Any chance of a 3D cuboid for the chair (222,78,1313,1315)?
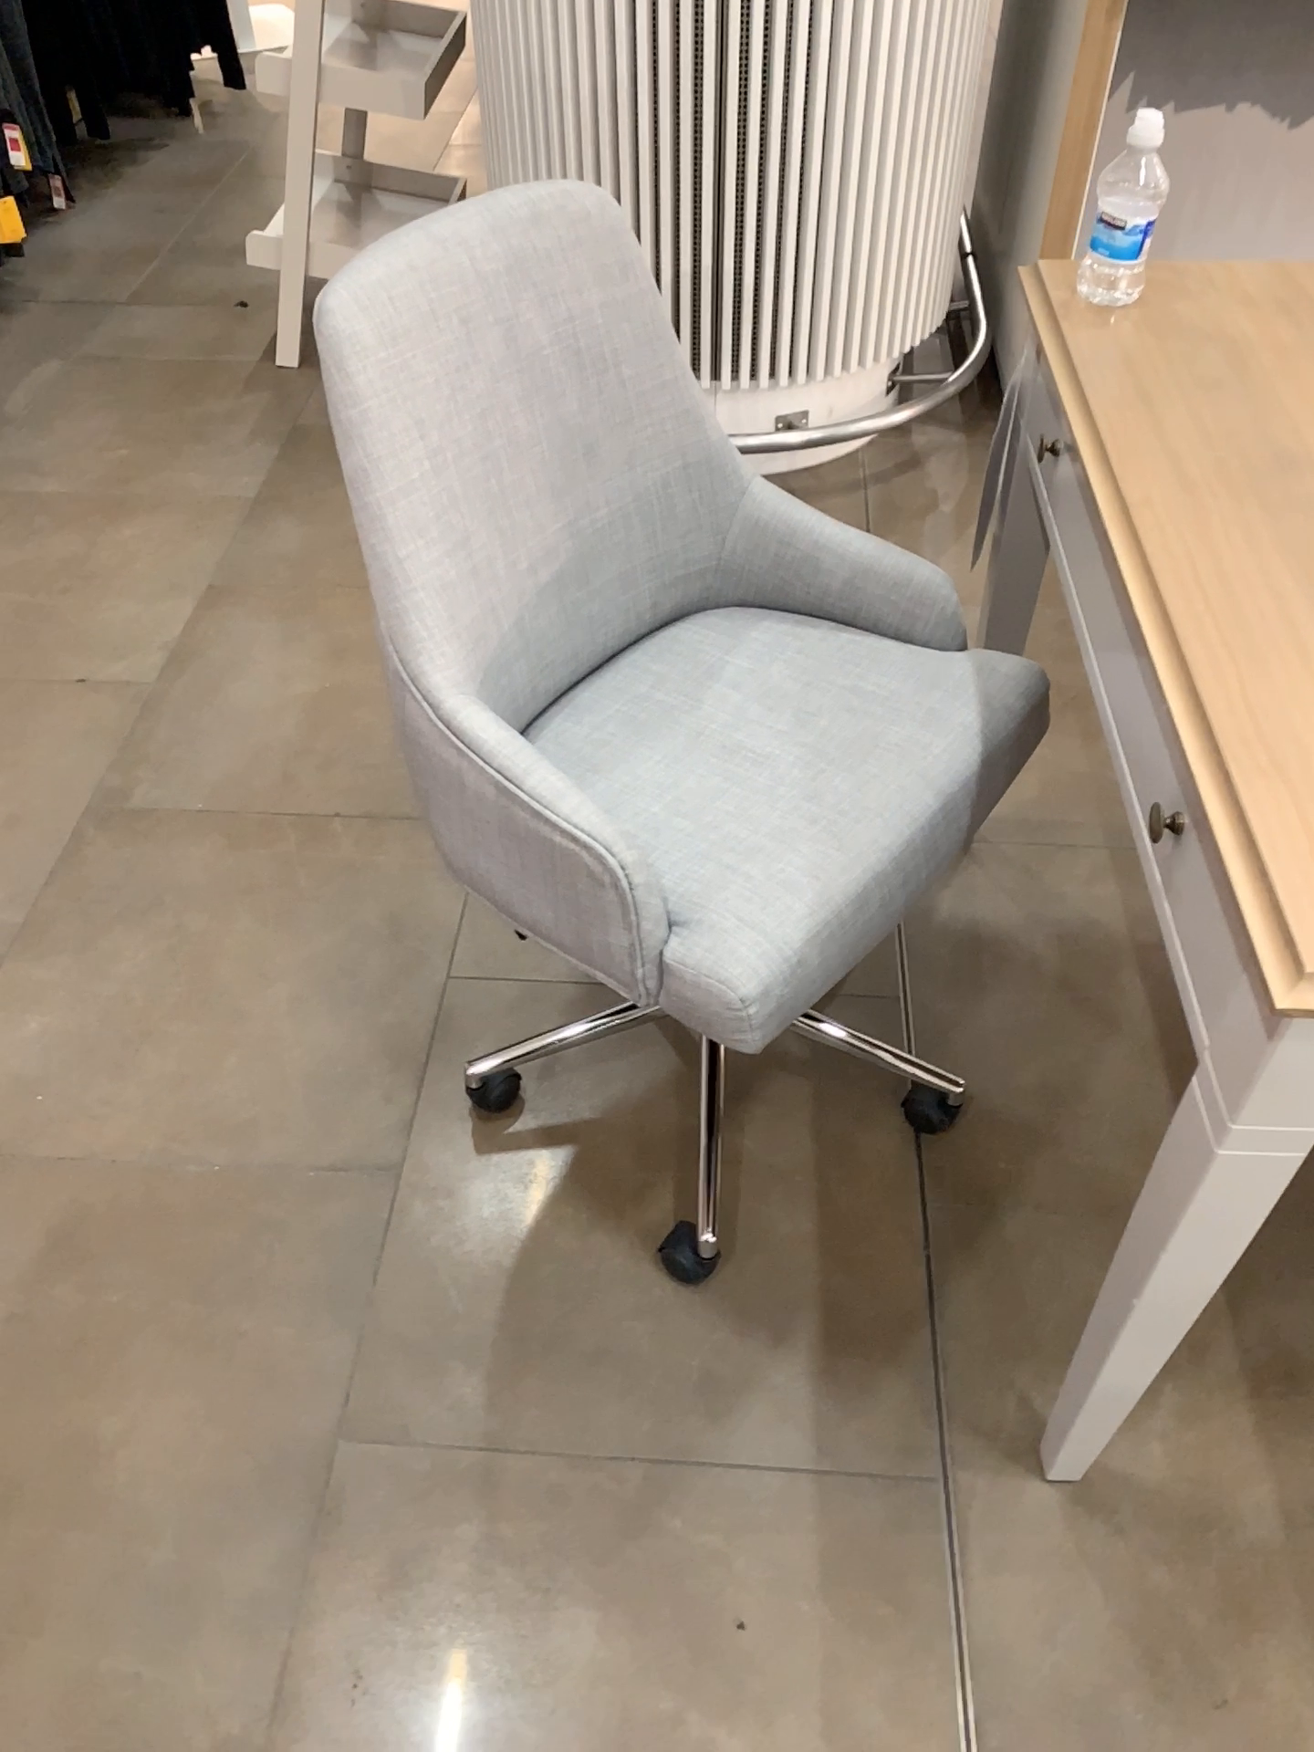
[{"bbox_3d":[0.114,-0.185,1.360,0.638,0.891,0.628,31,53,28],"label":"chair"}]
